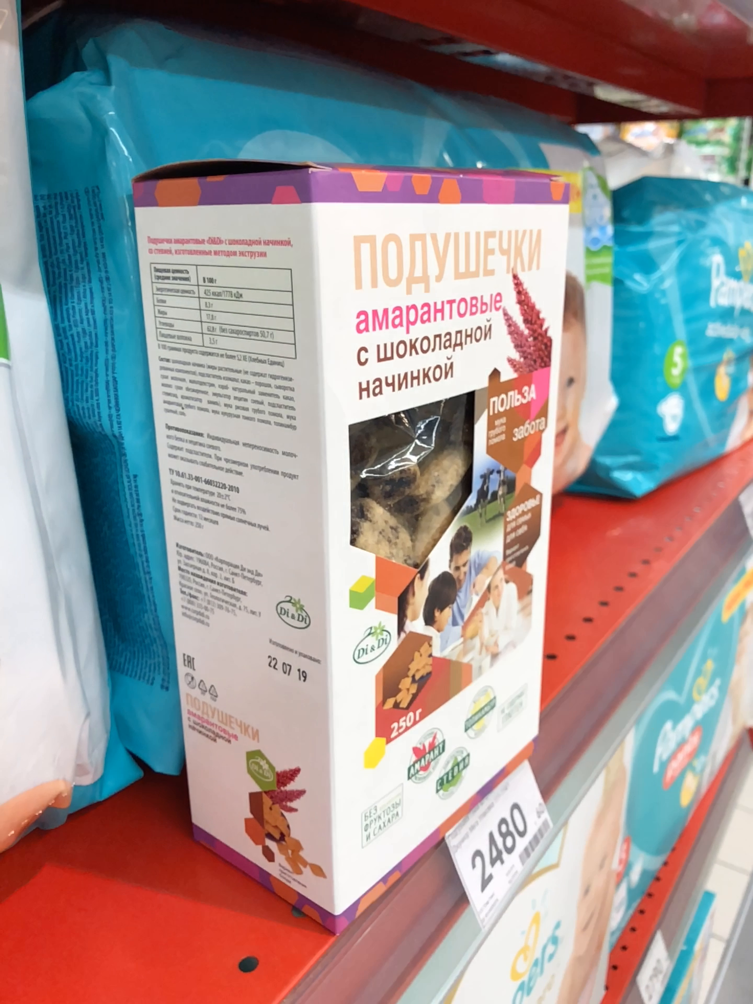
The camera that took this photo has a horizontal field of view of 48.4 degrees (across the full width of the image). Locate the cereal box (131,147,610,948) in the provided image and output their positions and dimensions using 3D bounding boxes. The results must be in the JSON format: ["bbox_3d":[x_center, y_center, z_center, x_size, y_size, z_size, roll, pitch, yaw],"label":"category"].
[{"bbox_3d":[0.007,0.003,0.286,0.070,0.219,0.141,14,23,37],"label":"cereal box"}]
